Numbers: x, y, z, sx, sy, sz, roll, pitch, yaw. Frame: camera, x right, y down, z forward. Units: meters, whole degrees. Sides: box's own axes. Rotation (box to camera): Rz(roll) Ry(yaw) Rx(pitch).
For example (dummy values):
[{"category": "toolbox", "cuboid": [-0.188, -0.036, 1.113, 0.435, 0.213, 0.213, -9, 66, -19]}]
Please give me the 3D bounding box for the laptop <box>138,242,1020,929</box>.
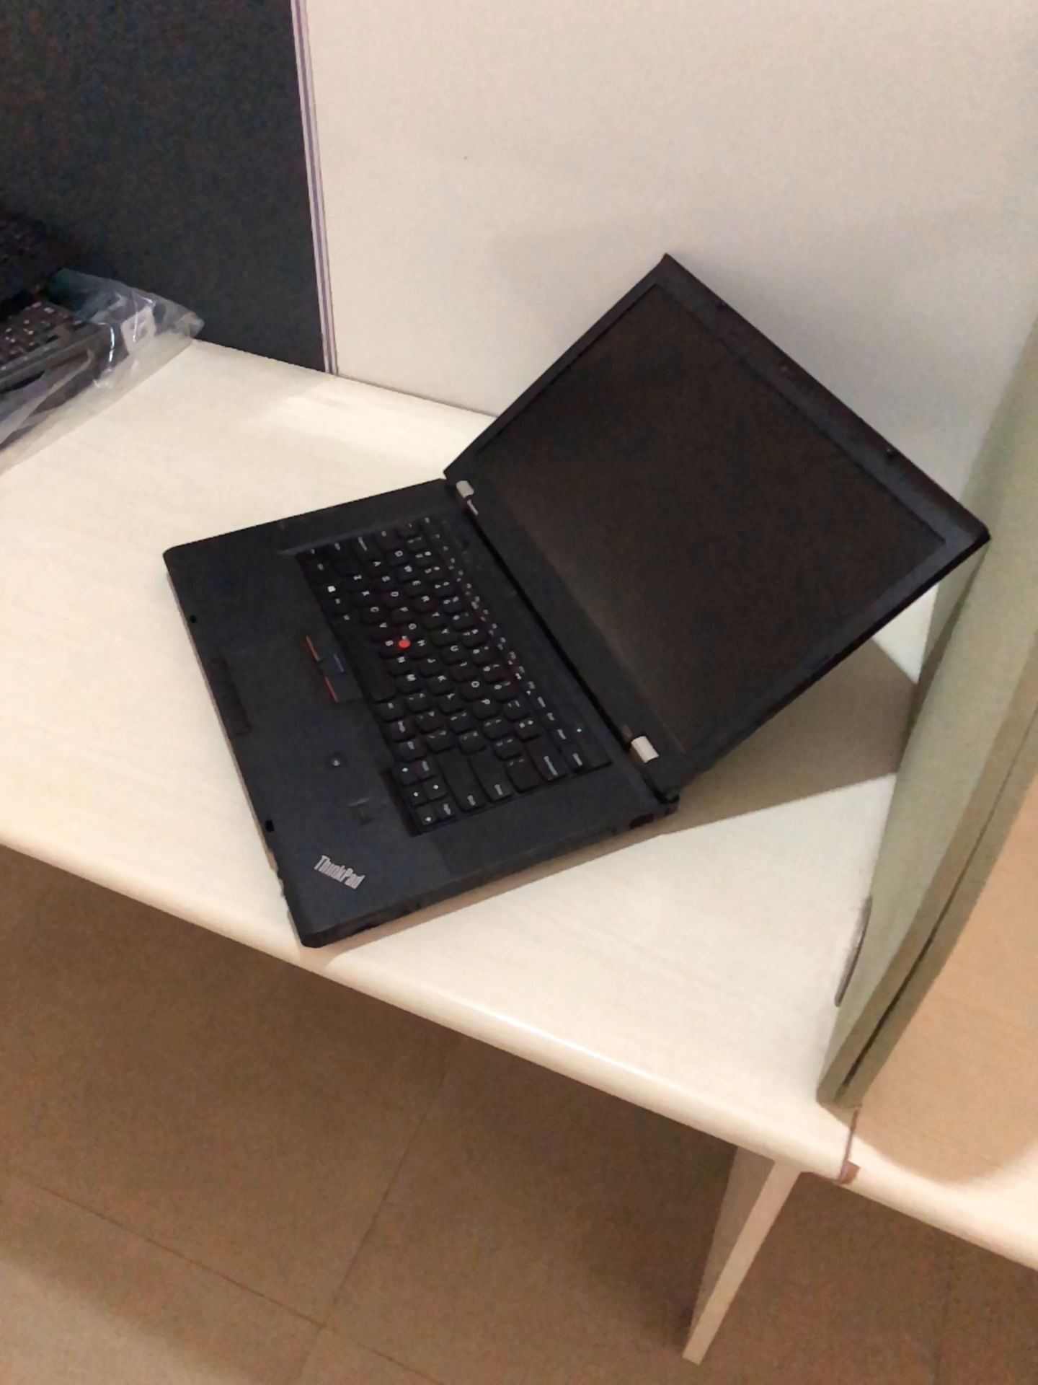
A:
[{"category": "laptop", "cuboid": [0.007, -0.102, 0.733, 0.411, 0.142, 0.355, -19, 49, -14]}]
